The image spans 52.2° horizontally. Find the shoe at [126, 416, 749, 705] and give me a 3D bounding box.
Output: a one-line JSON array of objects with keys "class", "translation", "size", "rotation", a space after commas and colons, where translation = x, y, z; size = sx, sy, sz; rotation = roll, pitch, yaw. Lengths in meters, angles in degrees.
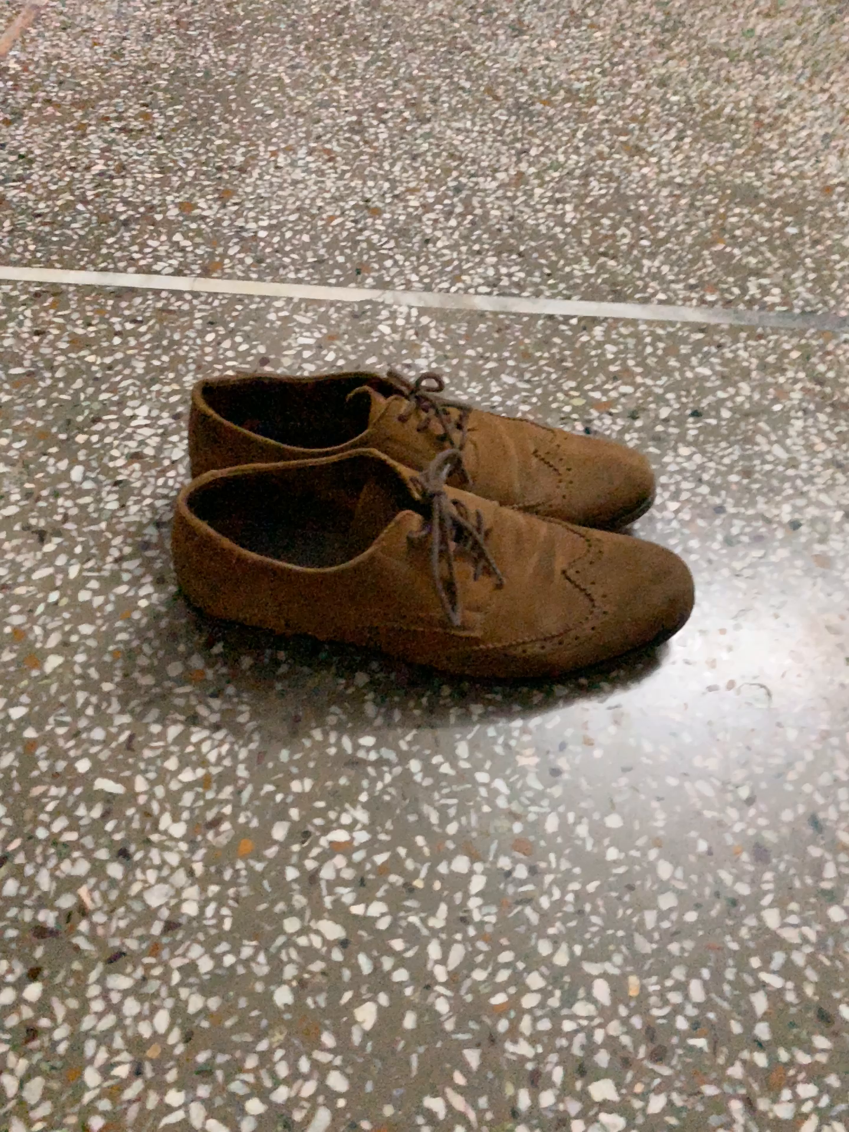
[{"class": "shoe", "translation": [0.006, 0.000, 0.504], "size": [0.310, 0.110, 0.100], "rotation": [4, 52, -1]}]

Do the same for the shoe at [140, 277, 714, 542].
[{"class": "shoe", "translation": [0.000, -0.095, 0.541], "size": [0.310, 0.110, 0.100], "rotation": [2, 52, -3]}]
